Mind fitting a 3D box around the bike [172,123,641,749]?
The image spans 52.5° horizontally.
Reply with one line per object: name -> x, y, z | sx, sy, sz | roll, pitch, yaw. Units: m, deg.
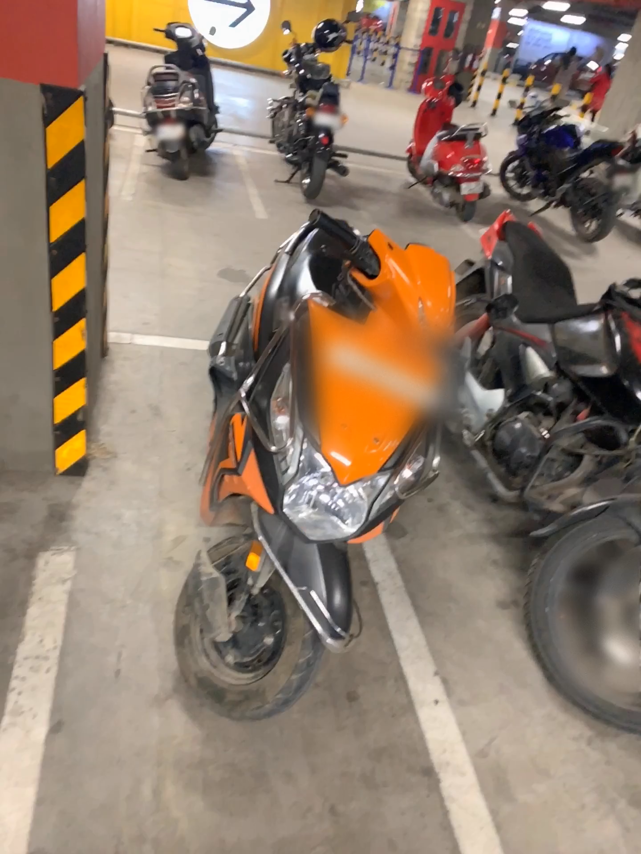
bike -> 0.101, -0.121, 1.990 | 0.724, 1.173, 1.614 | 8, 32, -7
